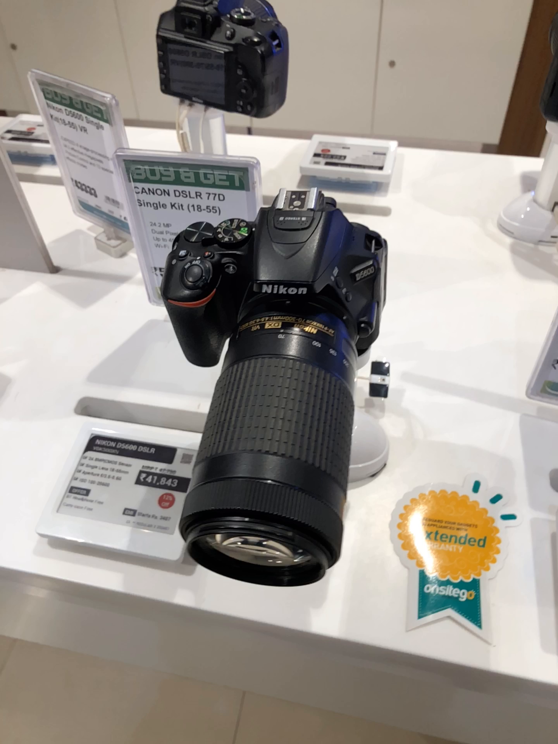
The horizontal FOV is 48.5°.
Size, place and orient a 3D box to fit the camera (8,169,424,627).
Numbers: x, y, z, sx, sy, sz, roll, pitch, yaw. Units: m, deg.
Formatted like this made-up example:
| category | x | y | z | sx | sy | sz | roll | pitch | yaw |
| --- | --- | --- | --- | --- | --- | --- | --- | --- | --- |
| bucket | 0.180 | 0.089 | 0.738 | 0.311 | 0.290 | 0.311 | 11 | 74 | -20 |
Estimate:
| category | x | y | z | sx | sy | sz | roll | pitch | yaw |
| --- | --- | --- | --- | --- | --- | --- | --- | --- | --- |
| camera | -0.007 | -0.003 | 0.304 | 0.140 | 0.089 | 0.201 | 6 | 48 | 8 |
